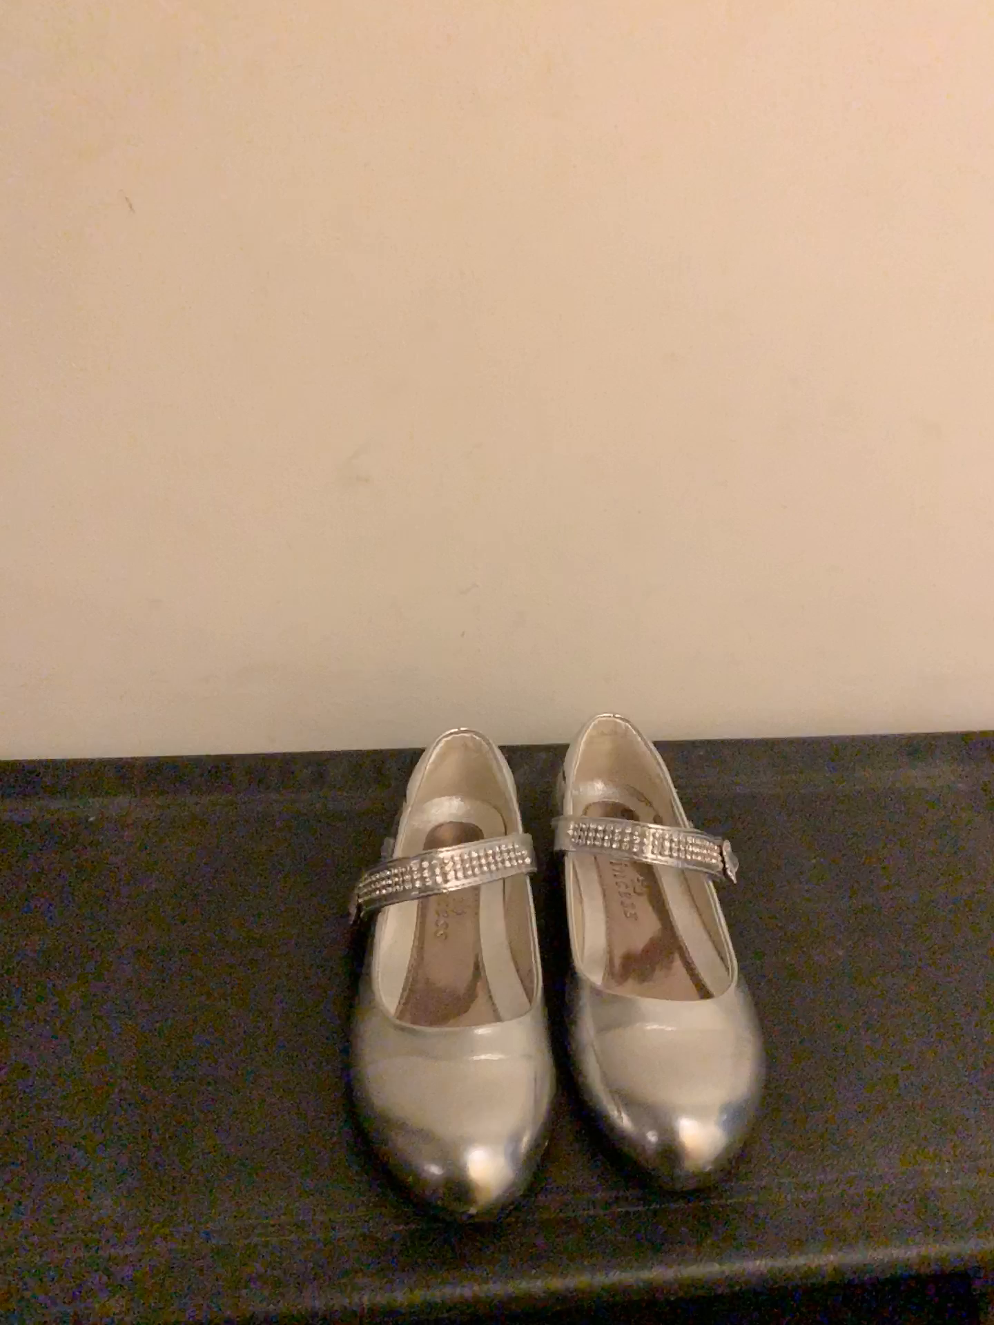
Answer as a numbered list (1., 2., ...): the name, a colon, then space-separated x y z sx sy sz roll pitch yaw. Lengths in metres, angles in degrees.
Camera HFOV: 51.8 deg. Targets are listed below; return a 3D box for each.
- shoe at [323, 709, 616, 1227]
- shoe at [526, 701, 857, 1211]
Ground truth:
1. shoe: -0.011 0.109 0.414 0.090 0.089 0.182 -3 31 -1
2. shoe: 0.064 0.105 0.417 0.090 0.089 0.182 -3 31 -1
